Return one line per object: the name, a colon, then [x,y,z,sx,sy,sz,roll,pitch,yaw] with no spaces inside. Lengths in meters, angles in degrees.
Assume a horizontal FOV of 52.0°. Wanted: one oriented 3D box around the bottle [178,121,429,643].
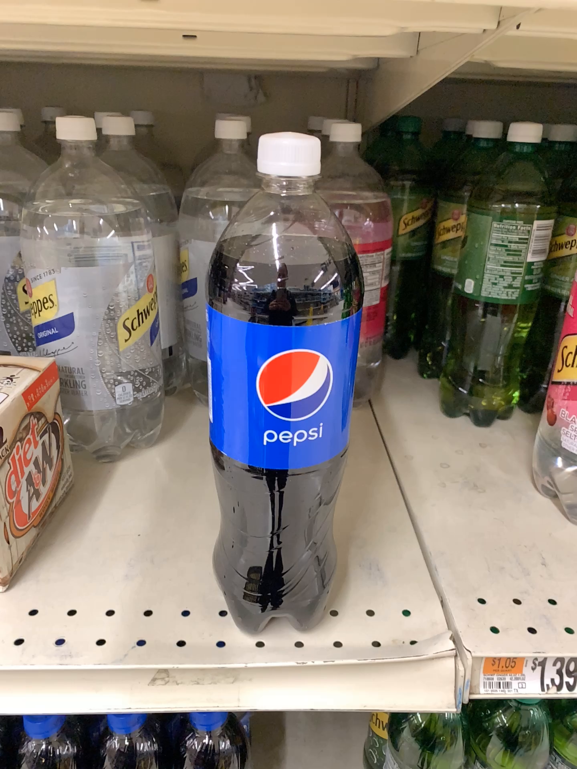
bottle: [-0.002,0.006,0.336,0.101,0.279,0.090,0,25,-5]
